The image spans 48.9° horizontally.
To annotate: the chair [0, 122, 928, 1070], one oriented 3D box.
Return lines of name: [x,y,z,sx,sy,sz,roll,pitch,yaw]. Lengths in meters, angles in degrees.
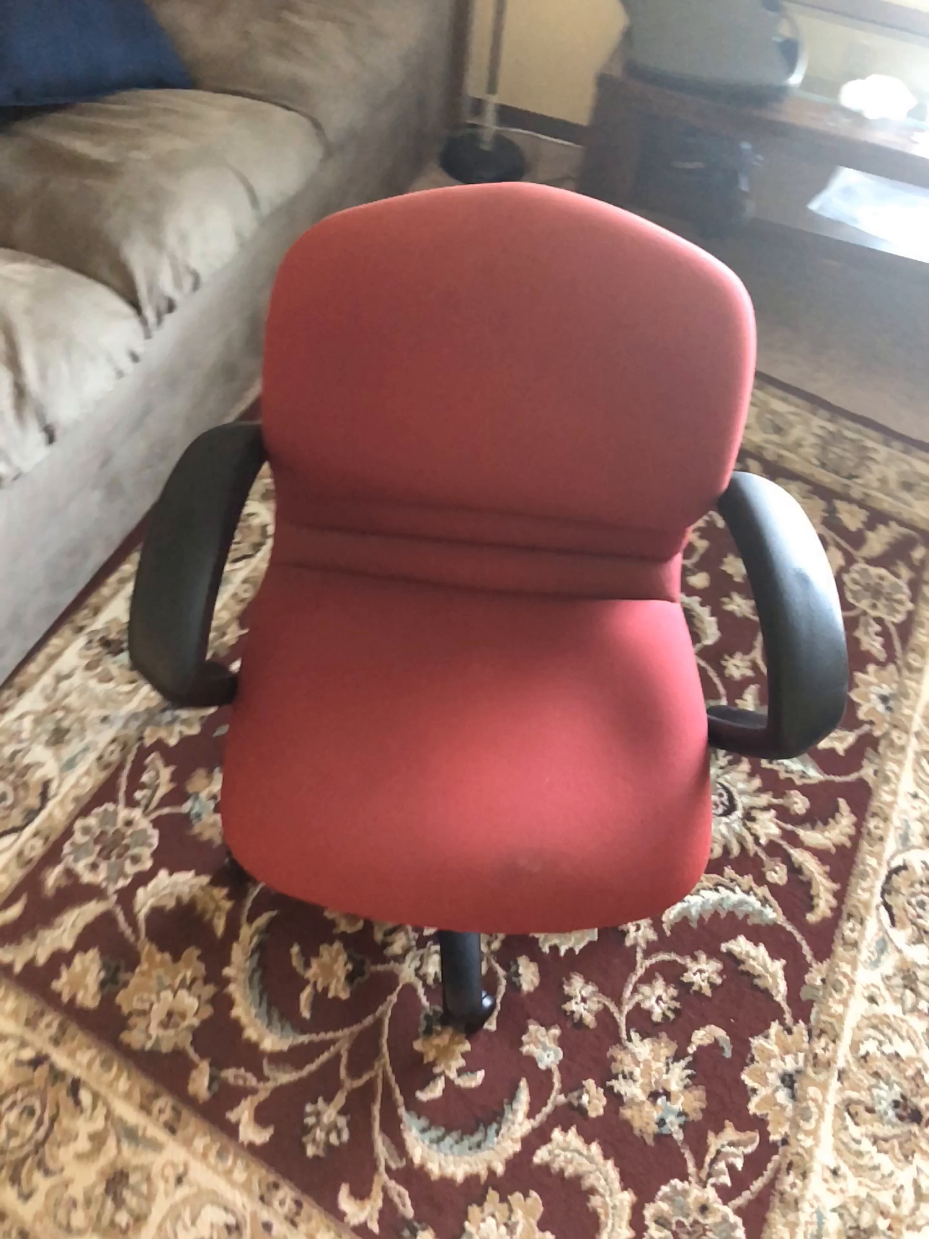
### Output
chair: [0.024,0.025,1.087,0.650,0.729,0.620,7,52,-2]
